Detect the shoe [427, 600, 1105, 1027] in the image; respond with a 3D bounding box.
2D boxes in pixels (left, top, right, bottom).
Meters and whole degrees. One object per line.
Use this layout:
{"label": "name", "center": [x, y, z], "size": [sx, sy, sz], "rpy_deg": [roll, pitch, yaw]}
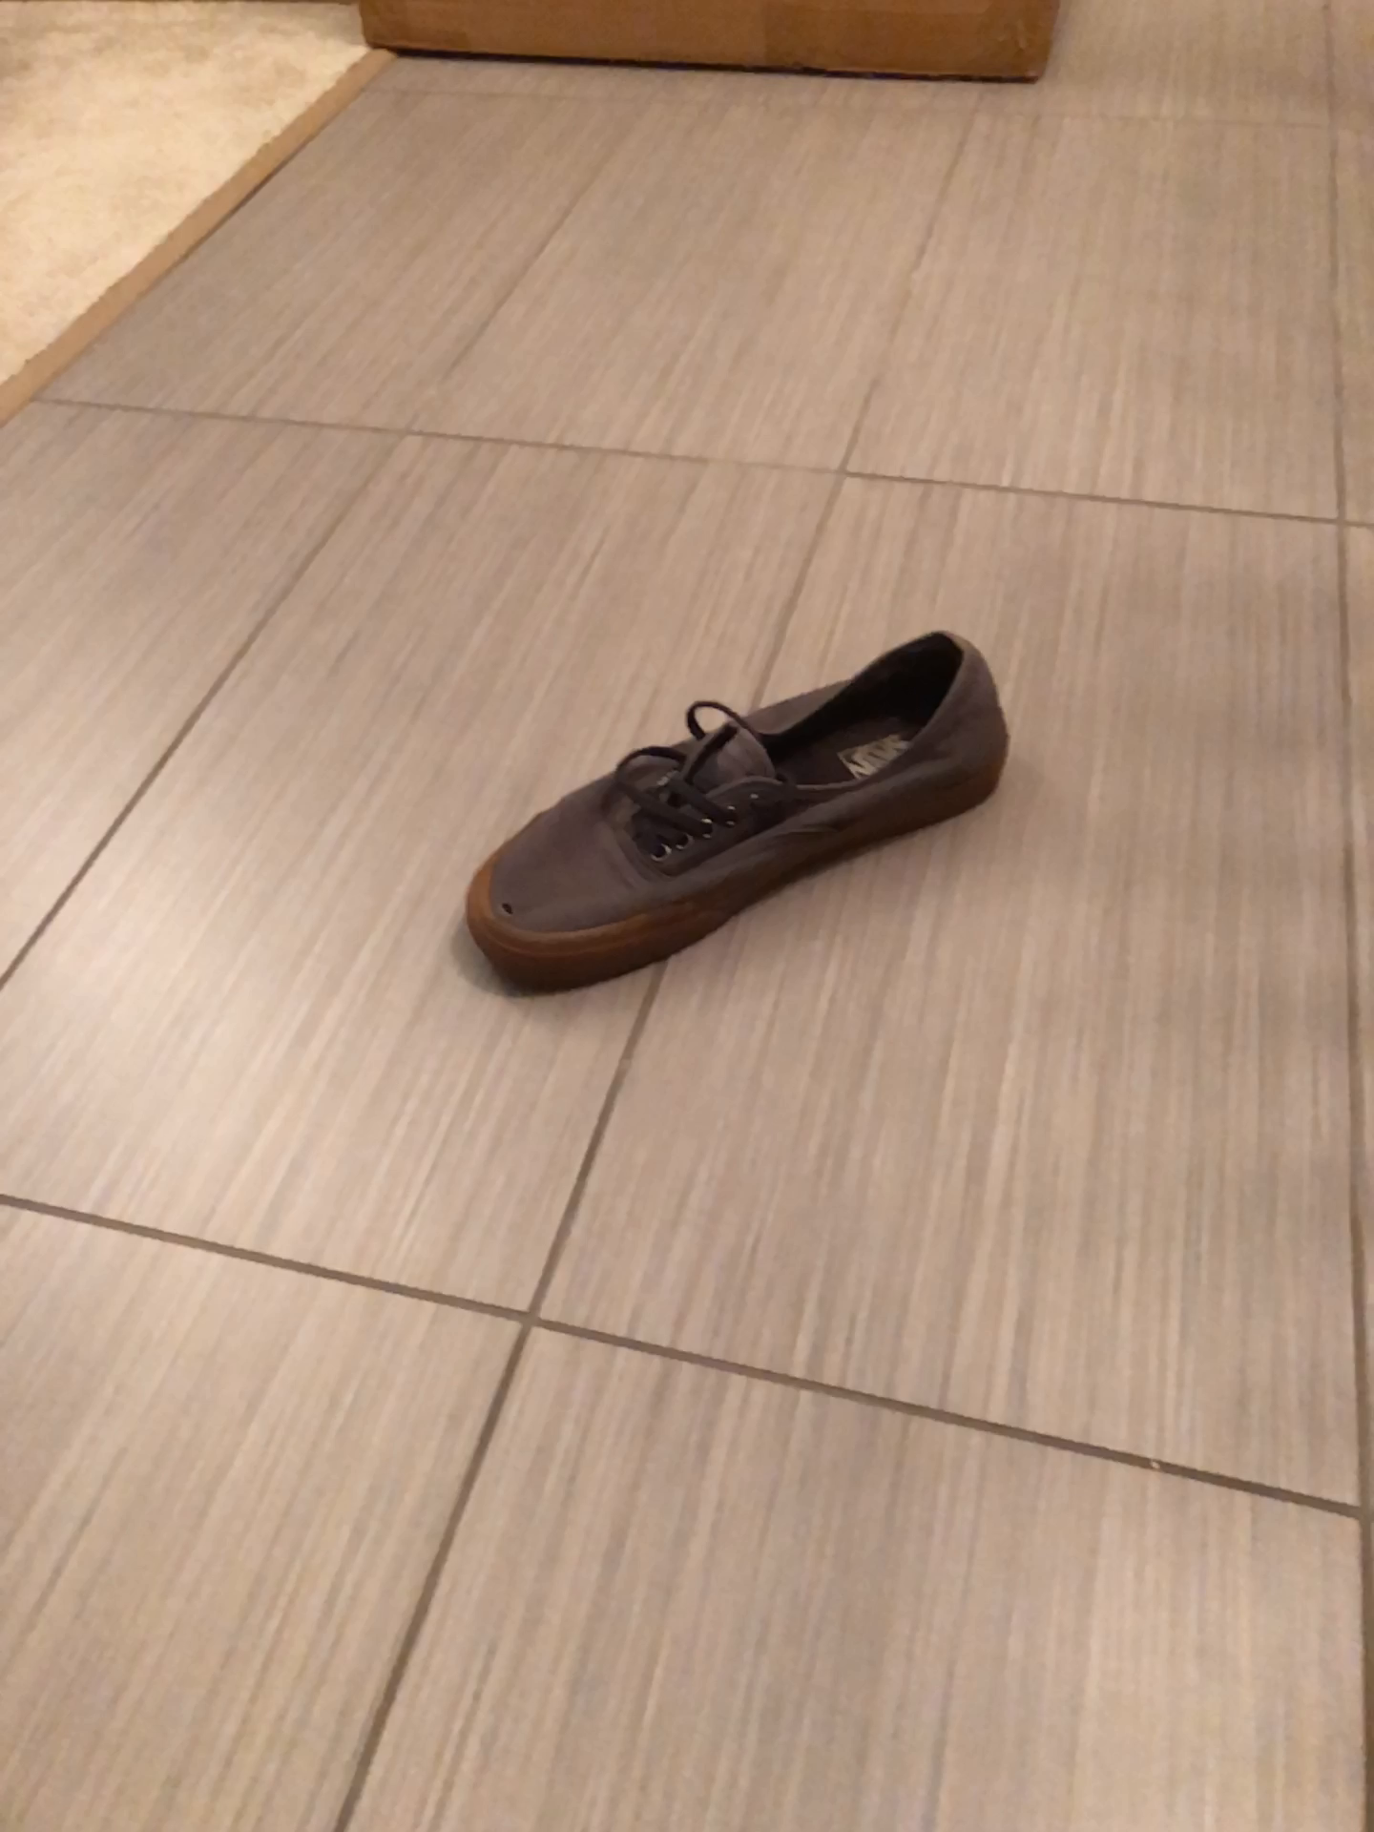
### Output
{"label": "shoe", "center": [0.037, -0.055, 0.710], "size": [0.290, 0.060, 0.110], "rpy_deg": [-20, 49, -14]}
